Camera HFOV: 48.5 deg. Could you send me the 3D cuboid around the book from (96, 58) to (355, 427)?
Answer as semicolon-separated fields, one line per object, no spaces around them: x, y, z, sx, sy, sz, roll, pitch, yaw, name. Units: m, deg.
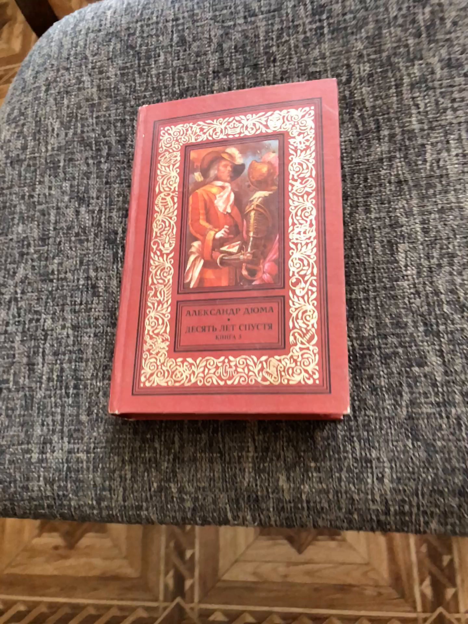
-0.002;-0.040;0.304;0.131;0.038;0.206;-3;72;14;book
